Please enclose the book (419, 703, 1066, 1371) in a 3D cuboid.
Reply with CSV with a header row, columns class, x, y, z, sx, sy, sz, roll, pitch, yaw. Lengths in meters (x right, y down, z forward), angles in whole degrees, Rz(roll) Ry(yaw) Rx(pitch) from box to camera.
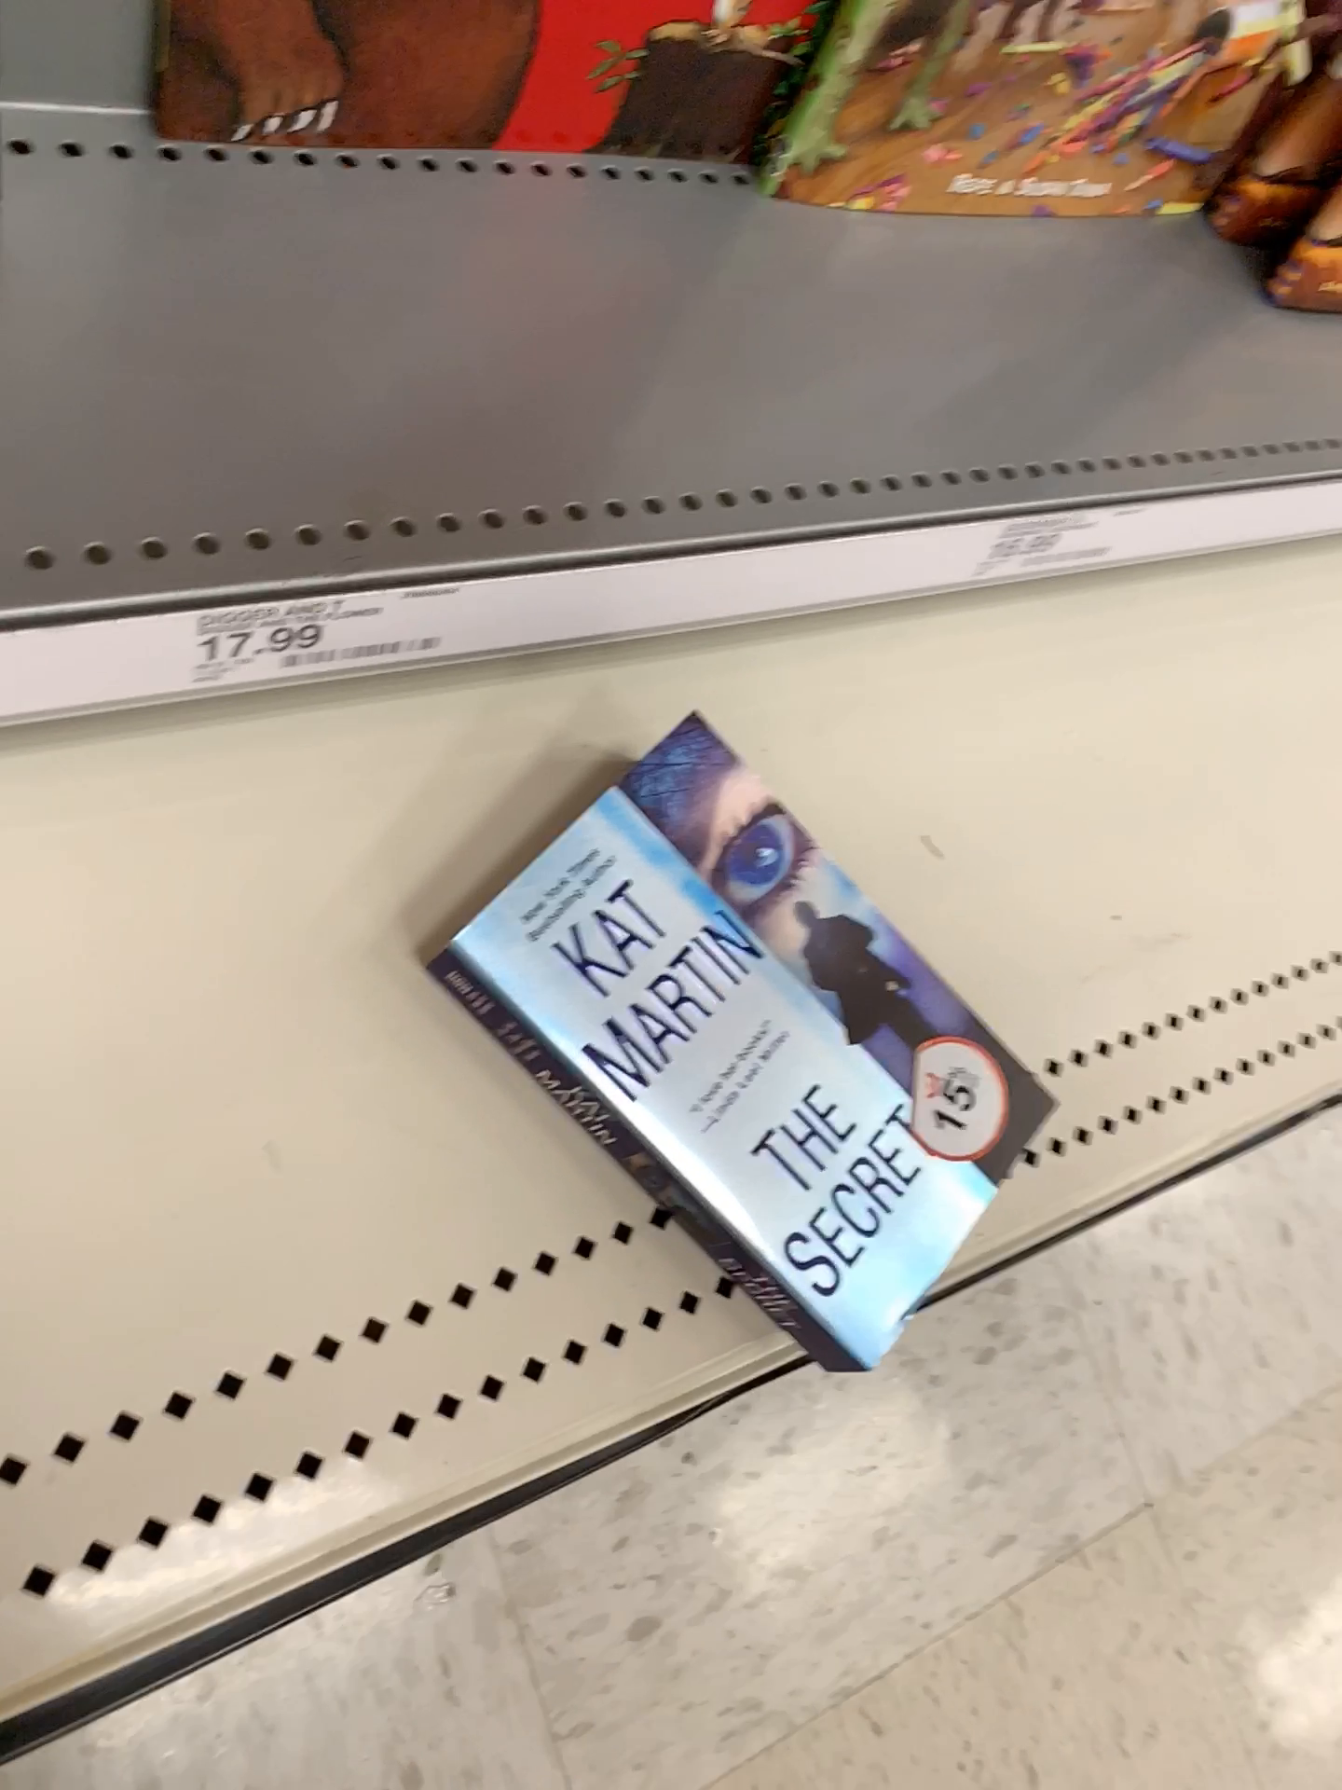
class,x,y,z,sx,sy,sz,roll,pitch,yaw
book,0.025,0.041,0.408,0.164,0.040,0.105,46,63,-6
